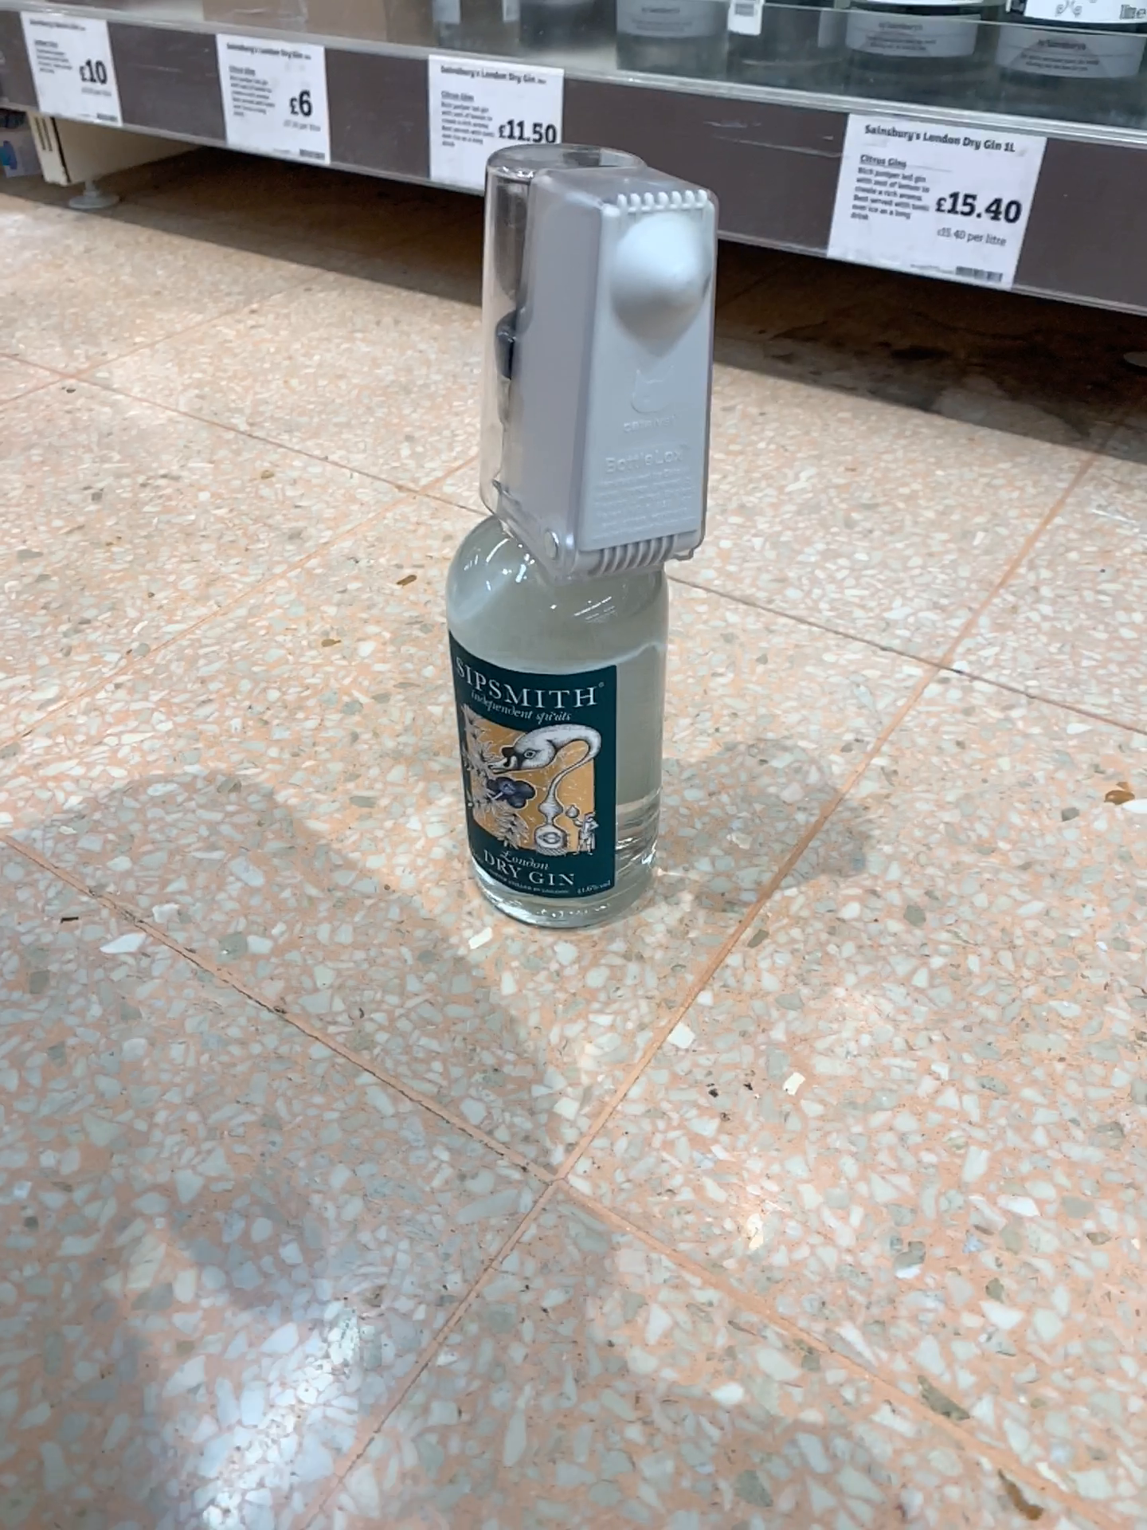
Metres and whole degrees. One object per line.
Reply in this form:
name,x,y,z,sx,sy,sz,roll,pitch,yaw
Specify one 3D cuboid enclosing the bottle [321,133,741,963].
bottle,-0.008,-0.052,0.348,0.074,0.222,0.069,0,39,0
